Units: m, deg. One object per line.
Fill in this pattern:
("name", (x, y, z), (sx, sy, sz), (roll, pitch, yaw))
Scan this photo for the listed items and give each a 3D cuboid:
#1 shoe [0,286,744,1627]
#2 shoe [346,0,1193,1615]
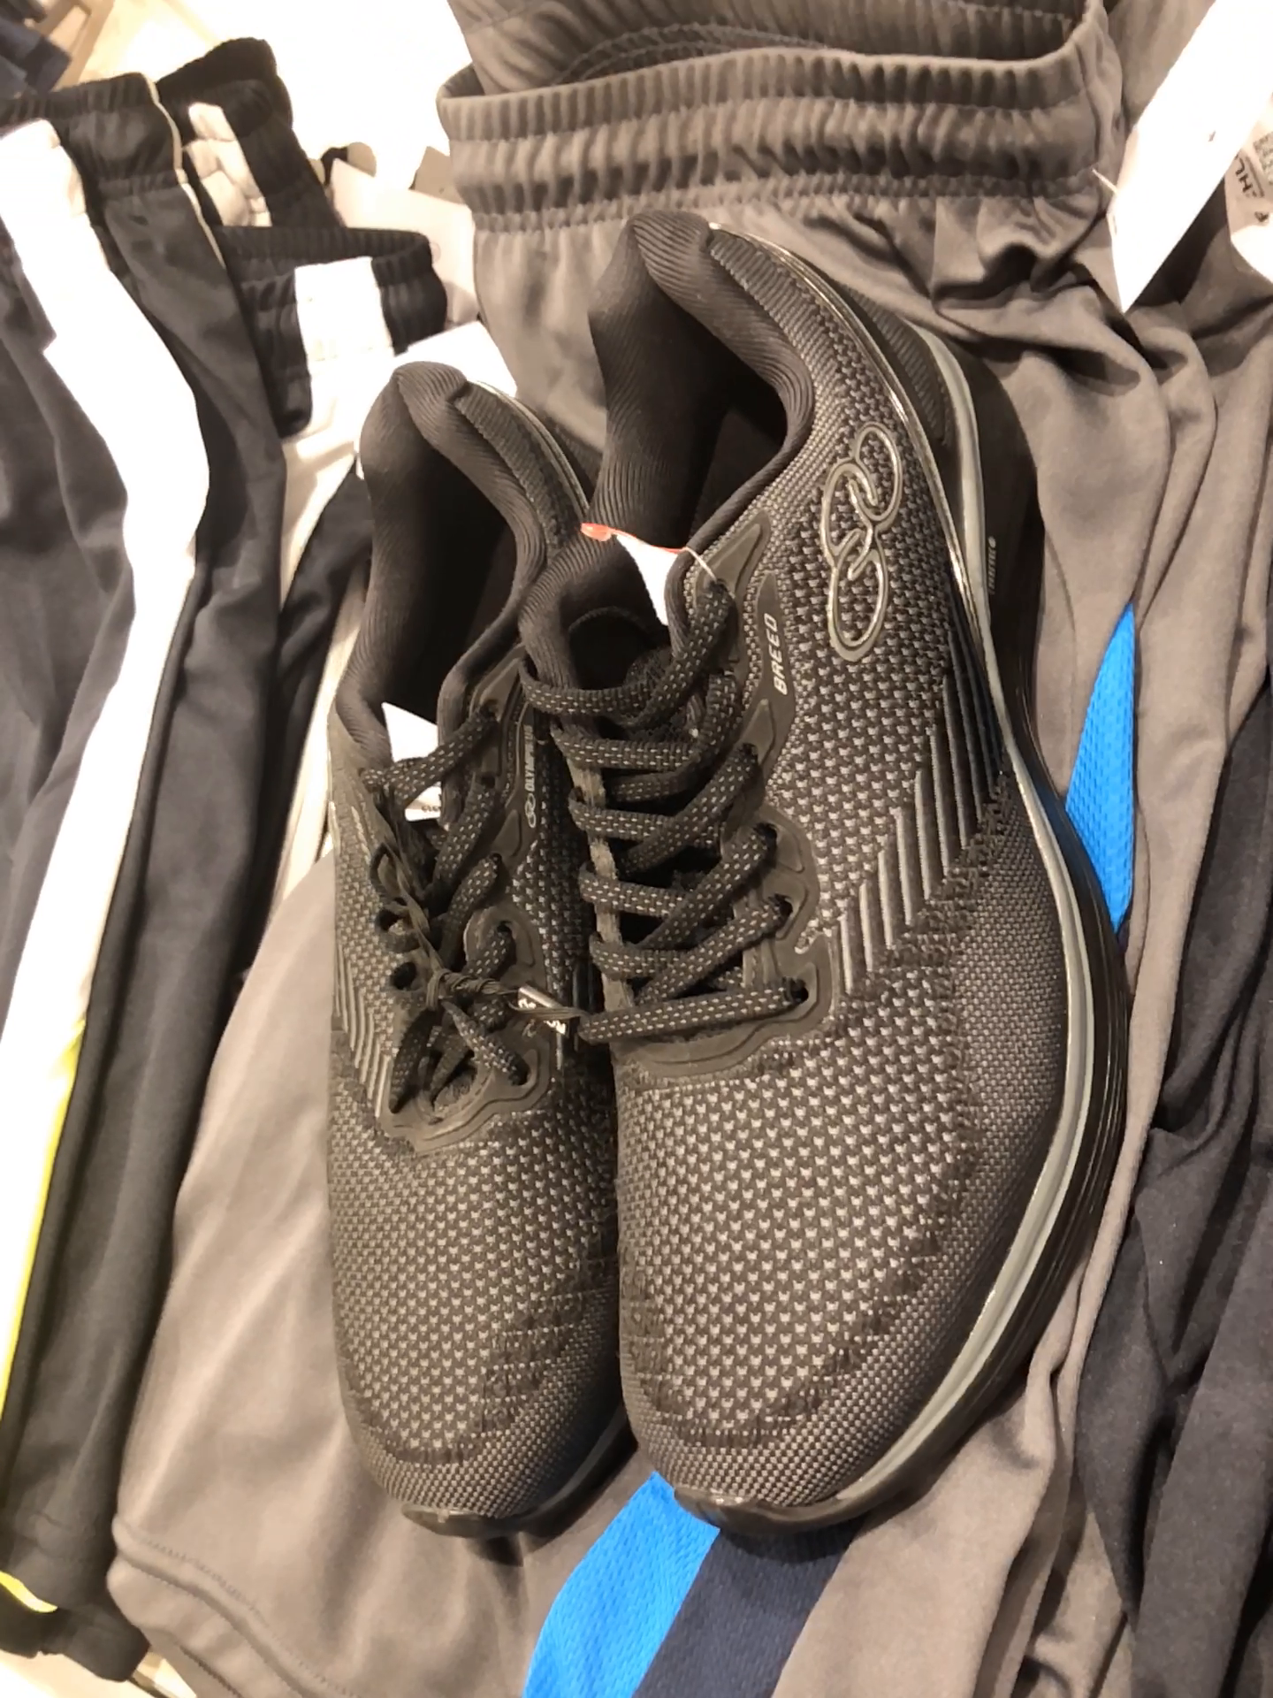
("shoe", (-0.050, 0.022, 0.336), (0.100, 0.099, 0.270), (-11, 63, 34))
("shoe", (0.036, -0.015, 0.282), (0.100, 0.099, 0.280), (-11, 63, 34))
